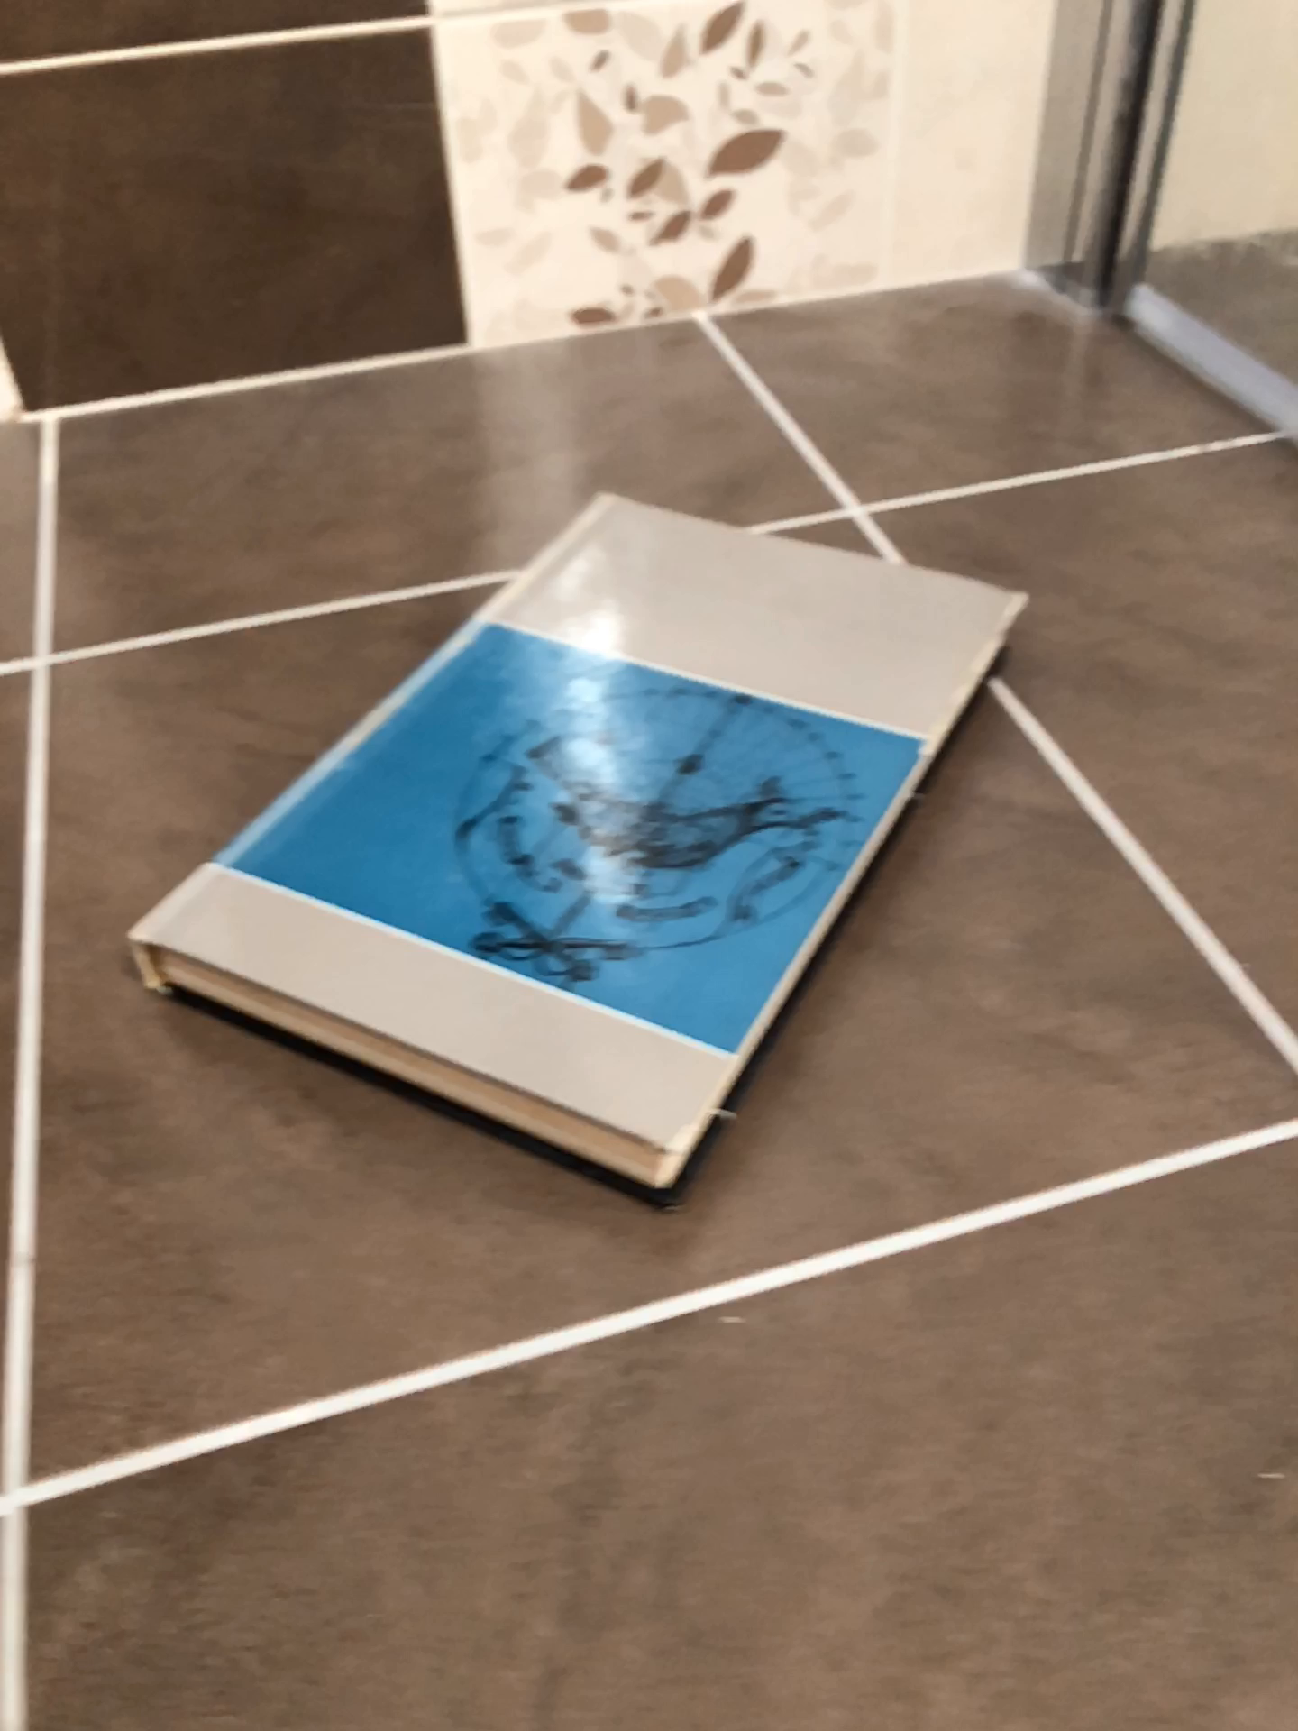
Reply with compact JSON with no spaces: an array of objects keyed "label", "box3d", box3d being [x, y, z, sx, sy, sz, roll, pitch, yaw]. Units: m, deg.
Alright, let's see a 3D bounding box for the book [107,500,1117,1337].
[{"label":"book","box3d":[0.008,-0.018,0.487,0.210,0.040,0.302,19,46,22]}]
